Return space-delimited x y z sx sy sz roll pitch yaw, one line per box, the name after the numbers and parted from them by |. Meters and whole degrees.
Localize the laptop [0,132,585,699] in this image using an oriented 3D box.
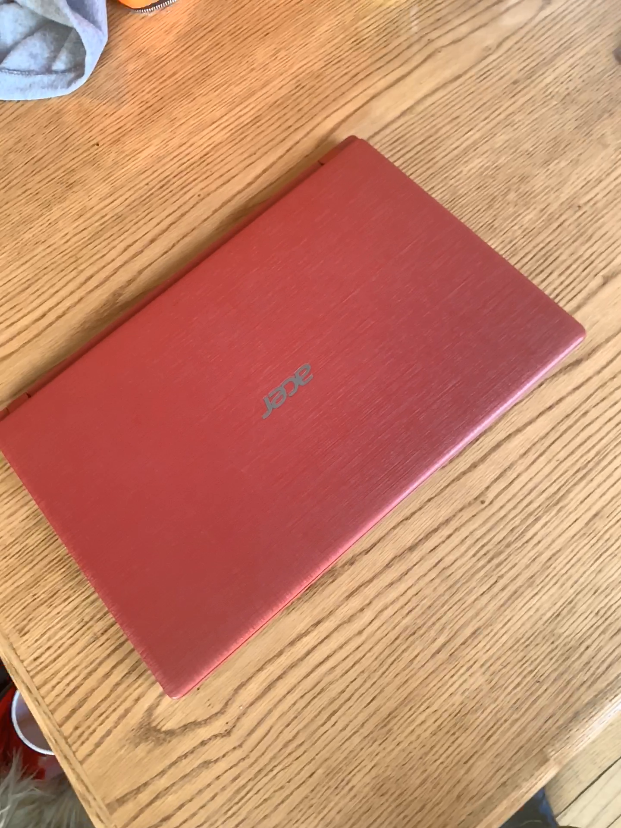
-0.025 -0.019 0.459 0.362 0.013 0.236 -40 74 -5 | laptop
